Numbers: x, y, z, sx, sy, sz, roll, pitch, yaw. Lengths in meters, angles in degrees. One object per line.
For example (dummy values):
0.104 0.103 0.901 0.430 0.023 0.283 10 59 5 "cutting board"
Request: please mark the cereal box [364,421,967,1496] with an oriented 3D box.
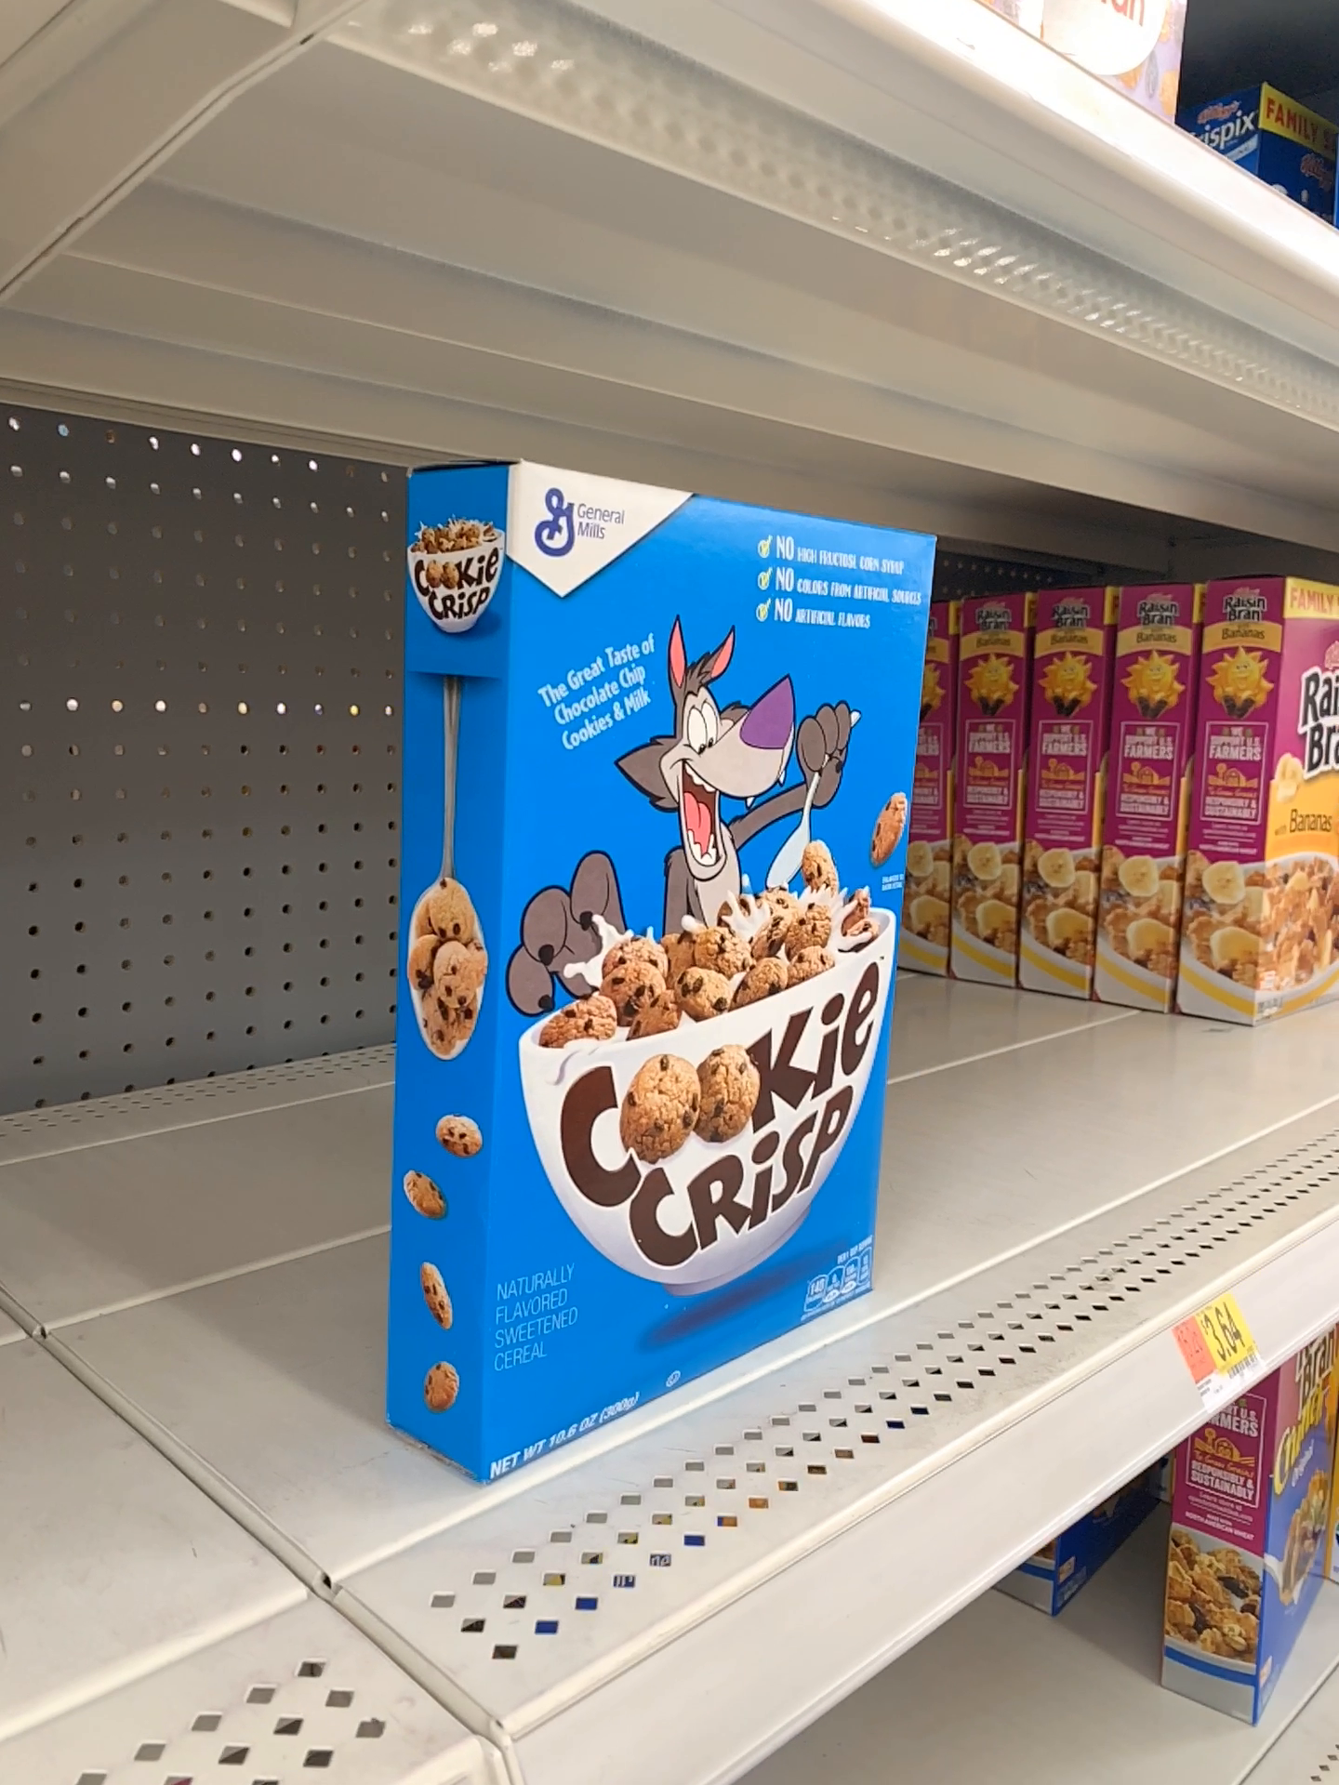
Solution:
0.007 0.012 0.444 0.050 0.279 0.210 11 12 42 "cereal box"
